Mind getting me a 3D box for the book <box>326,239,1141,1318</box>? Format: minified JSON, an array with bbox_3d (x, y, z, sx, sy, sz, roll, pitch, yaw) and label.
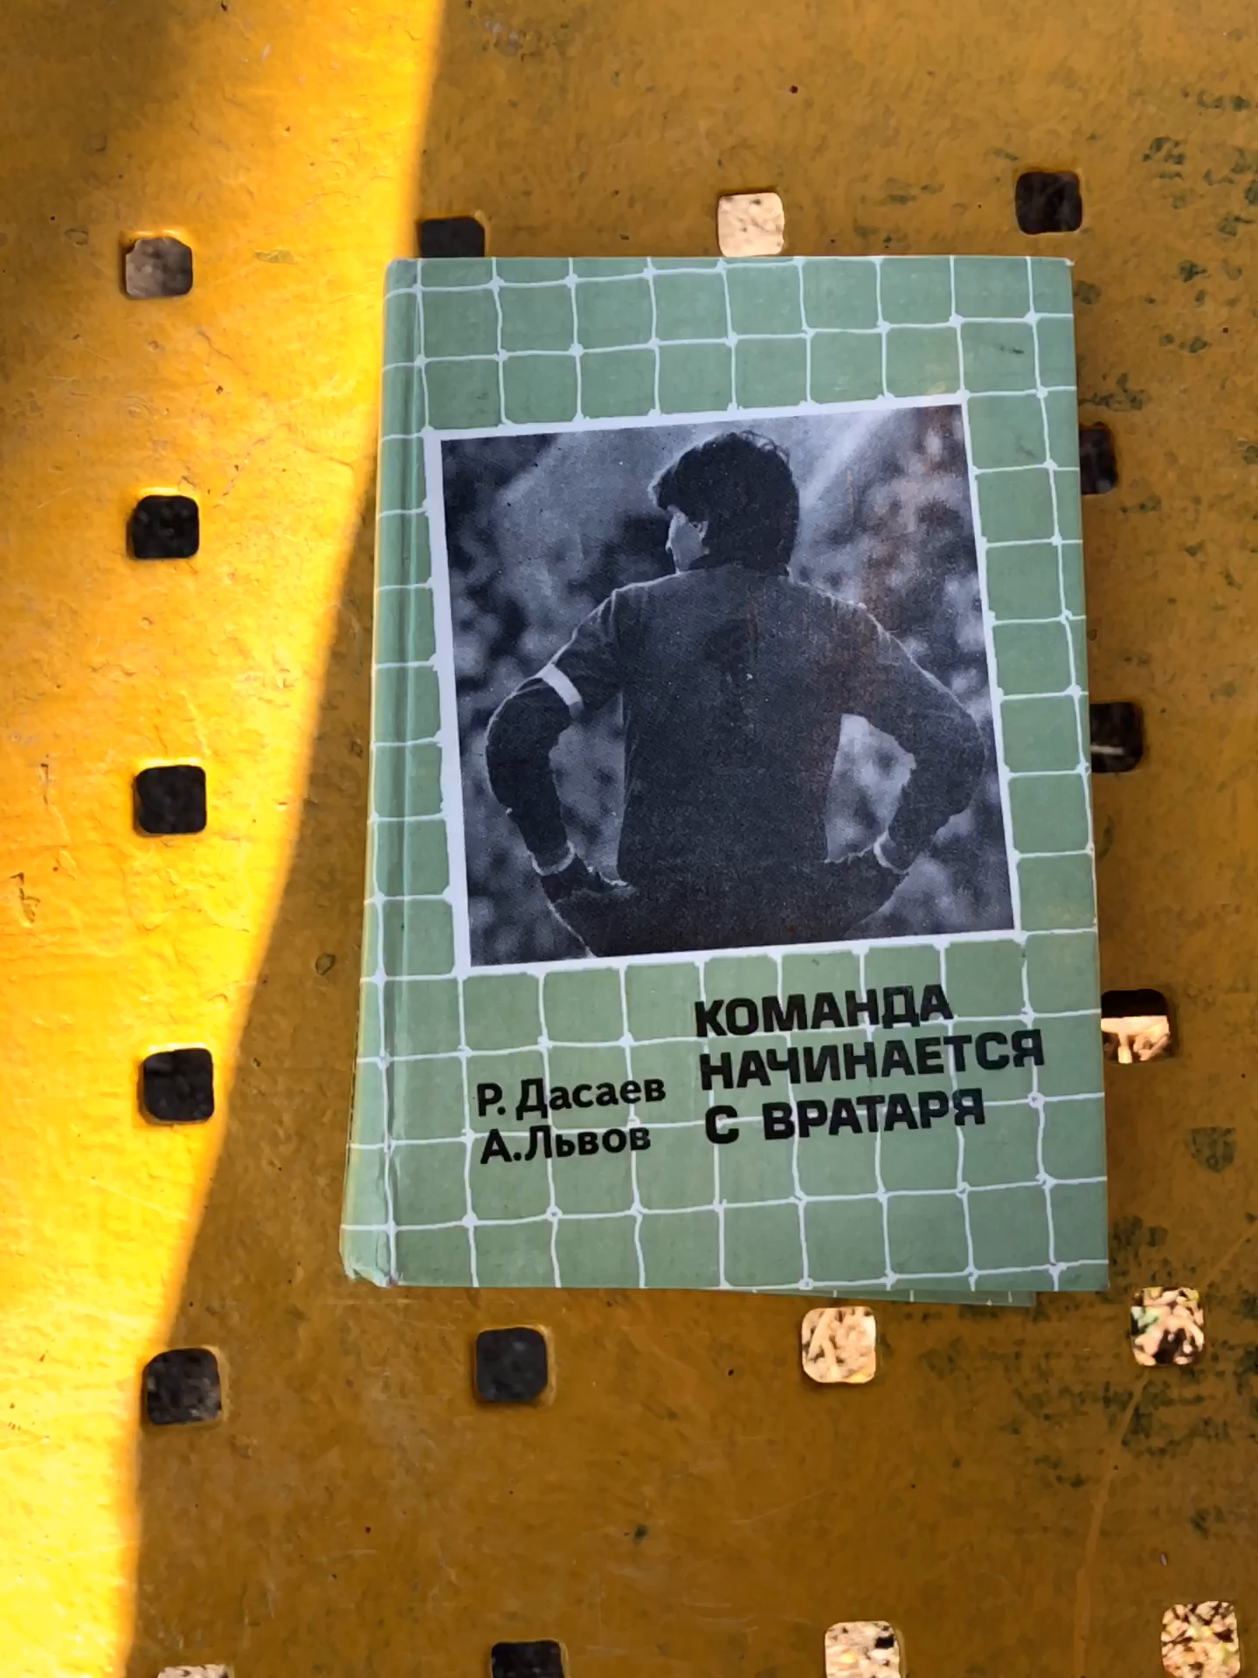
[{"bbox_3d":[0.016,-0.011,0.227,0.117,0.030,0.164,0,83,2],"label":"book"}]
